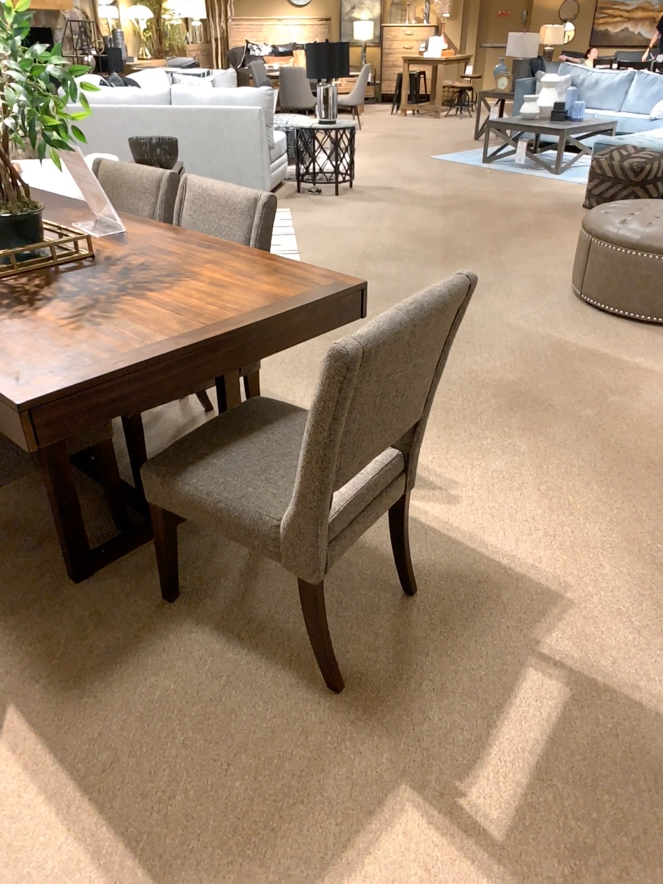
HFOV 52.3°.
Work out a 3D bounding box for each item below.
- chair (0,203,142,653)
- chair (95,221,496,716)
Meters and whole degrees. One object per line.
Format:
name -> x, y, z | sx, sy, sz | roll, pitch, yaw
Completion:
chair -> -0.948, -0.075, 1.718 | 0.481, 0.863, 0.632 | 24, 38, 34
chair -> -0.069, 0.025, 1.557 | 0.632, 0.863, 0.481 | 20, 36, 29
